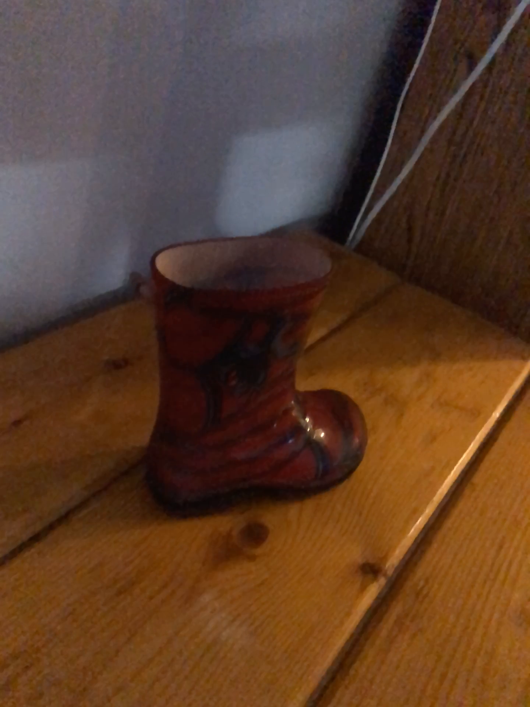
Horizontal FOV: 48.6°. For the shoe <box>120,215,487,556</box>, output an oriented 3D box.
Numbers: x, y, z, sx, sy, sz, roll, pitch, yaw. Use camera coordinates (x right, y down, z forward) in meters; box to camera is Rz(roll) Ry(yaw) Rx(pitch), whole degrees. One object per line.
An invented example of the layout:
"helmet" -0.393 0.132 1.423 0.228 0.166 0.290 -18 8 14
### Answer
"shoe" 0.012 0.014 0.349 0.160 0.169 0.080 -8 42 -30
